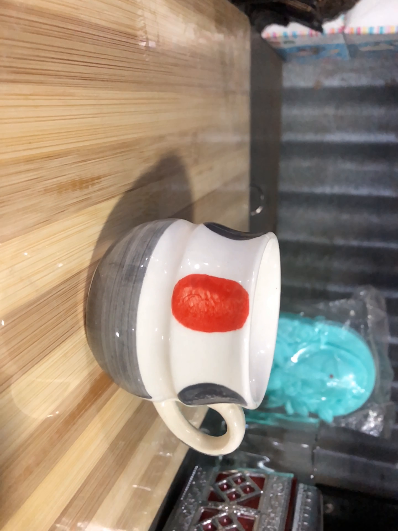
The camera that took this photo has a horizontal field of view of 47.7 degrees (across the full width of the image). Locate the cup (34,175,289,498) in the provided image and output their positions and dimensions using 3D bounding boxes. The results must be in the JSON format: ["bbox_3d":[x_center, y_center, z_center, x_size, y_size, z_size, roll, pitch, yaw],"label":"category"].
[{"bbox_3d":[-0.003,0.023,0.160,0.060,0.060,0.090,-62,152,-53],"label":"cup"}]
